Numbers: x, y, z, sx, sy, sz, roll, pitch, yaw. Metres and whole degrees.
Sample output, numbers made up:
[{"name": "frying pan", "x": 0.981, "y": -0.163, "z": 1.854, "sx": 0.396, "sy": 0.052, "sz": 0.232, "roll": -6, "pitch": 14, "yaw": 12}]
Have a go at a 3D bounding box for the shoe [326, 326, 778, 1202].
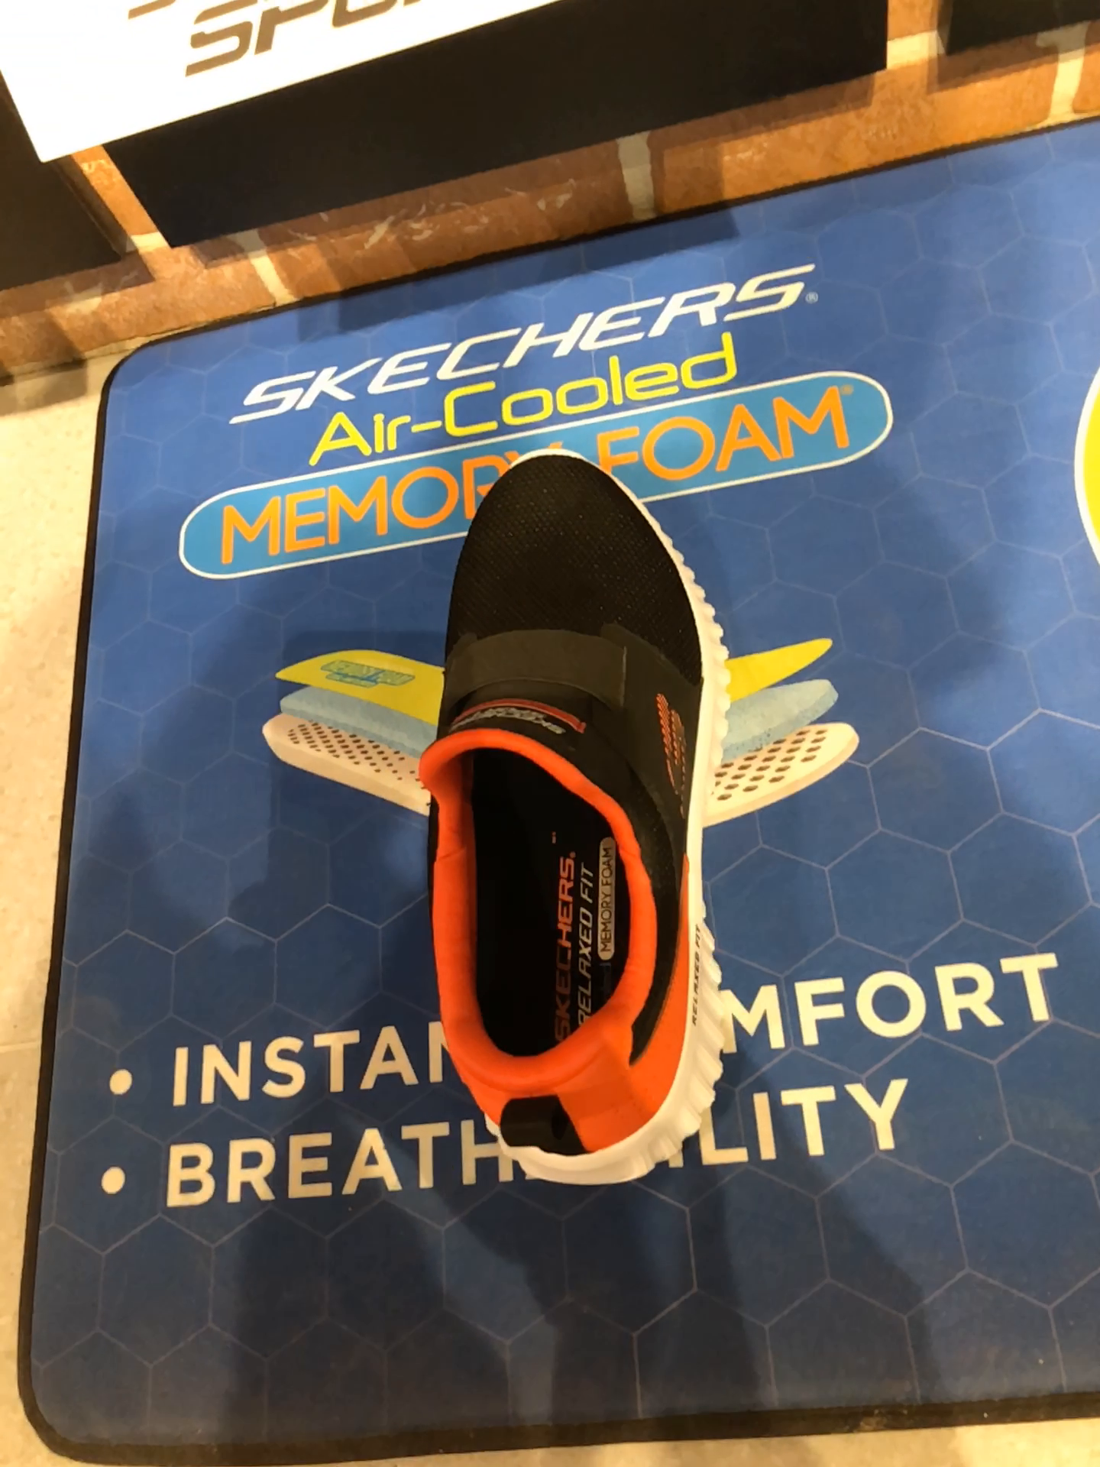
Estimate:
[{"name": "shoe", "x": 0.007, "y": 0.017, "z": 0.439, "sx": 0.116, "sy": 0.136, "sz": 0.277, "roll": -6, "pitch": 66, "yaw": 11}]
